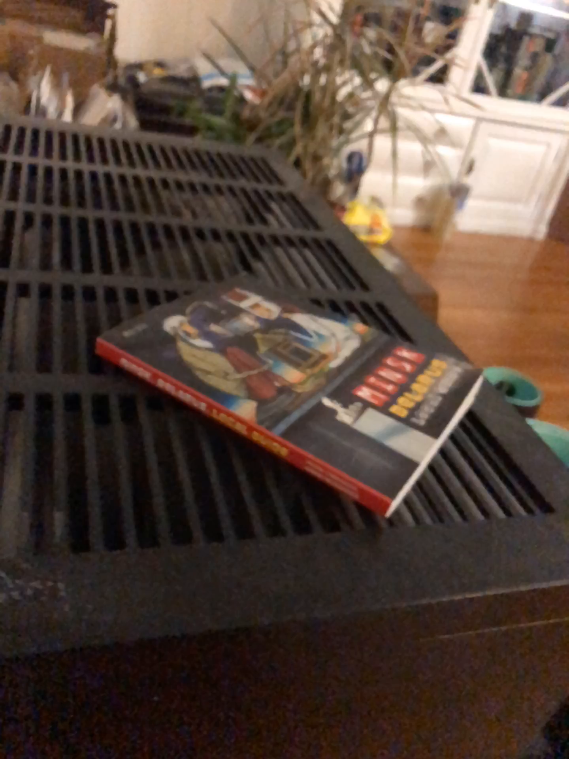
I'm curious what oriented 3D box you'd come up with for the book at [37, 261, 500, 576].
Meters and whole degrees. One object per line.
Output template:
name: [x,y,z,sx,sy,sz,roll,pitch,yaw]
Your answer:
book: [-0.001,-0.001,0.352,0.200,0.020,0.161,27,35,21]
